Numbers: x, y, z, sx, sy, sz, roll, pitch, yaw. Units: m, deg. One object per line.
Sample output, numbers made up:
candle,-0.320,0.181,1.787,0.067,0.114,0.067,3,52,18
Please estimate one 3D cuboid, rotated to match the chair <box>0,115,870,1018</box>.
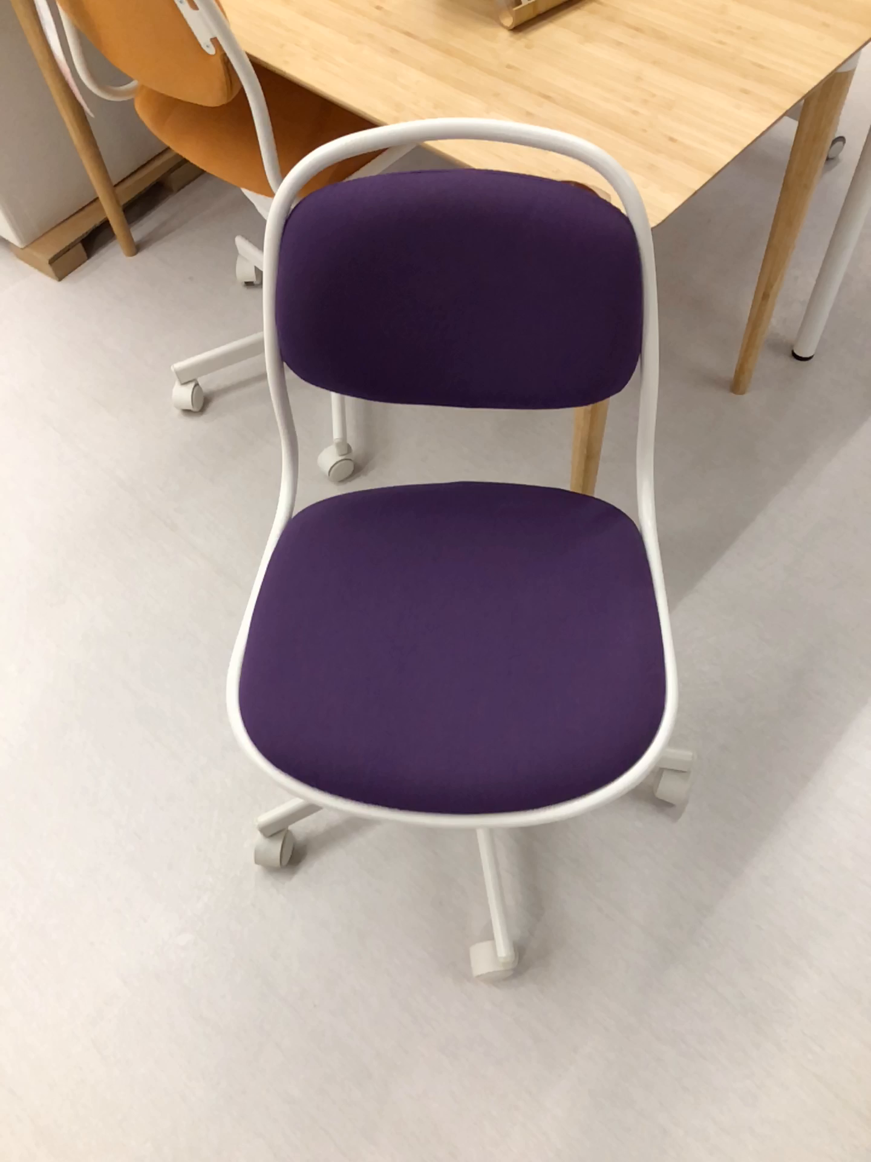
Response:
chair,0.038,0.040,1.067,0.620,0.776,0.663,3,58,6
